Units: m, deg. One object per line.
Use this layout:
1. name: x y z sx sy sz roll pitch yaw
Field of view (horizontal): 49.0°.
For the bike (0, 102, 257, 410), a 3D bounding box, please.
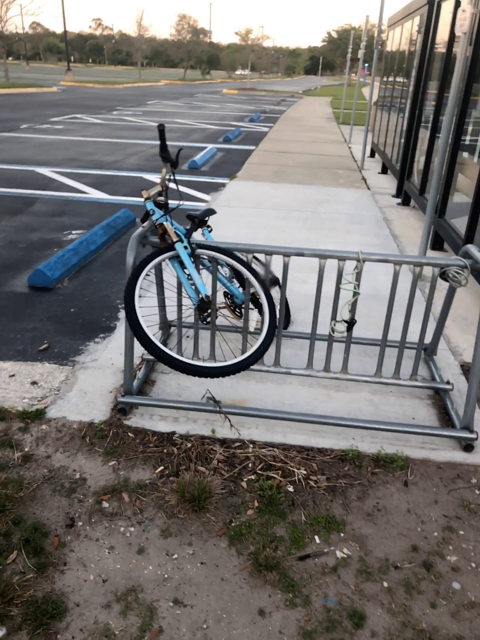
1. bike: -0.446 -0.333 2.393 0.548 1.128 0.941 16 26 26
